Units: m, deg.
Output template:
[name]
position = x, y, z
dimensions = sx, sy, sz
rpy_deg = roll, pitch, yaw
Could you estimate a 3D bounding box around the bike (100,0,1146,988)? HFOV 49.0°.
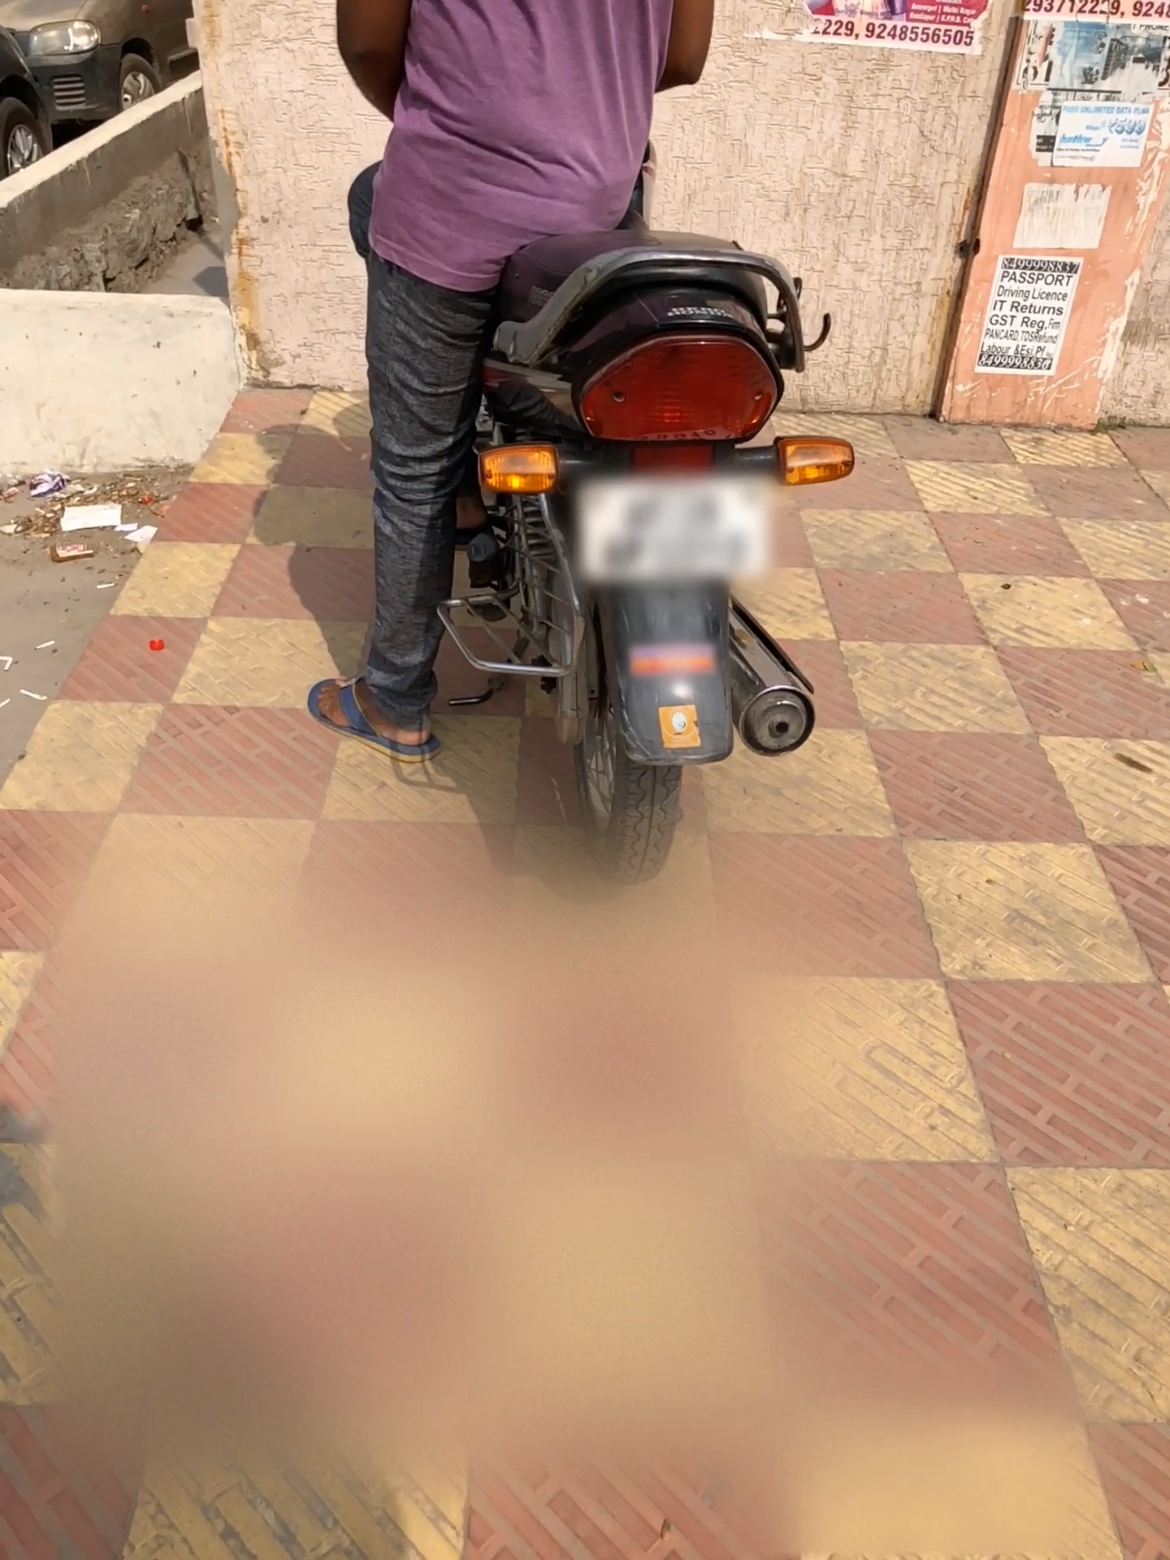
[bike]
position = -0.206, -0.700, 2.063
dimensions = 0.893, 1.066, 1.730
rpy_deg = -8, 38, -14
